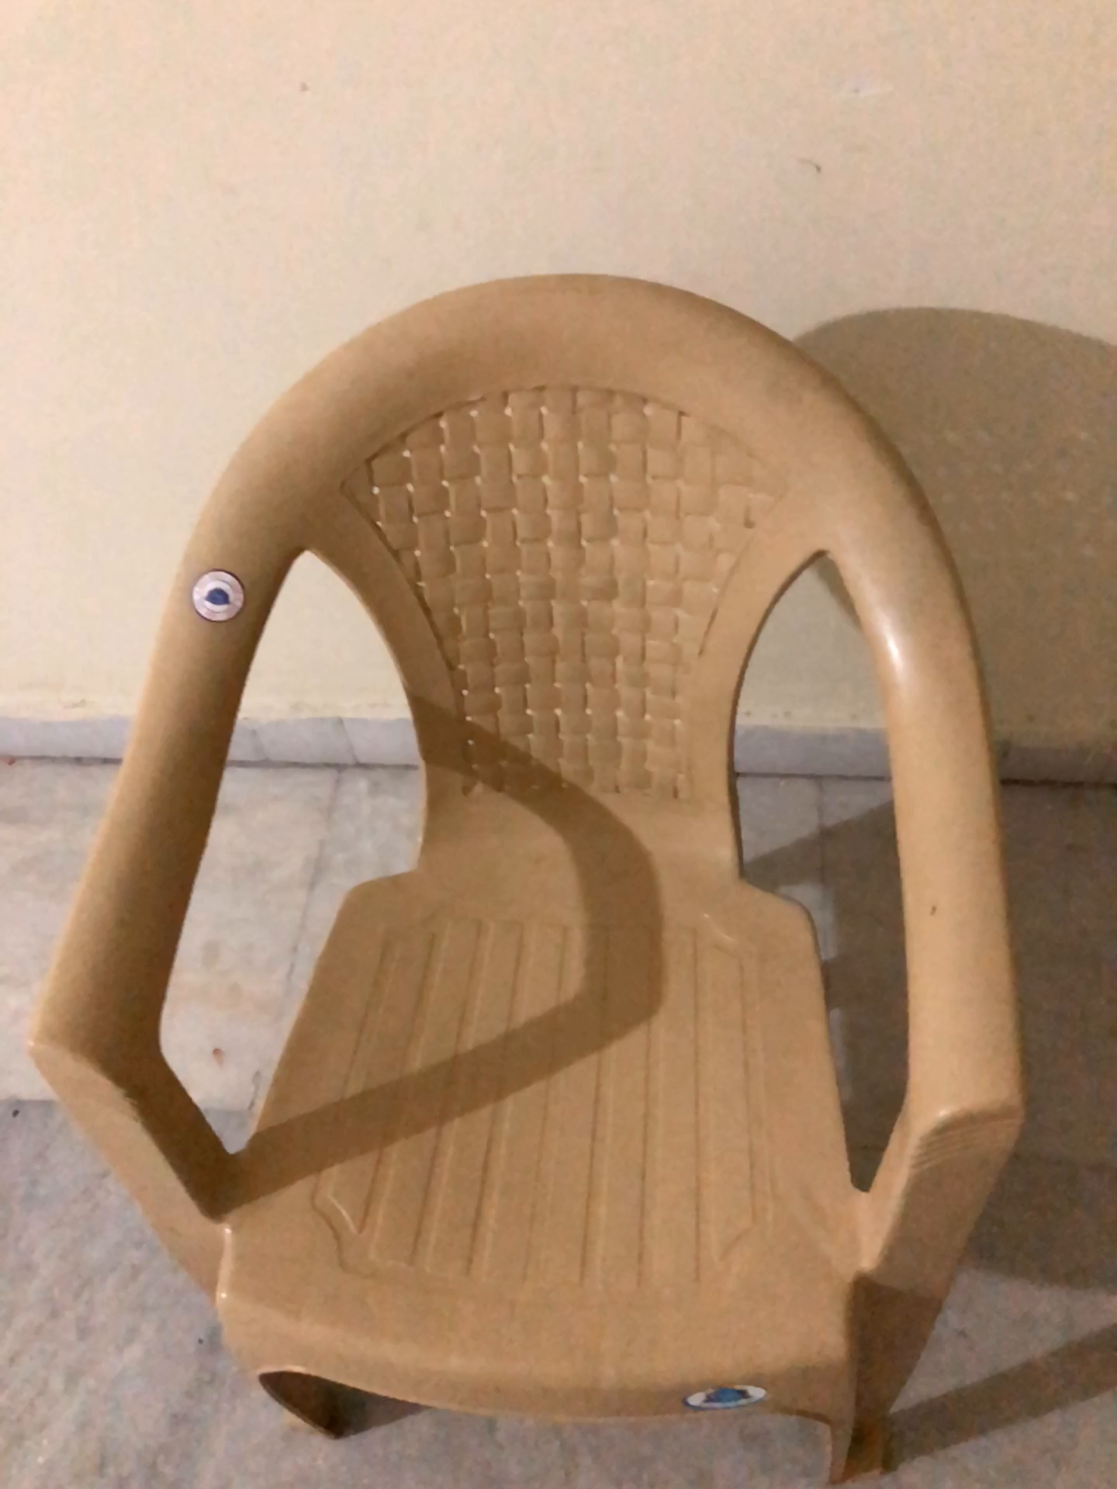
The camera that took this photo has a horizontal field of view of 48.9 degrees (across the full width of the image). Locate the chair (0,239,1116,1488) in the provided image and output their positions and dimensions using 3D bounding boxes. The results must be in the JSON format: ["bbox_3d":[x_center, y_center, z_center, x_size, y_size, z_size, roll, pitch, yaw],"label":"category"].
[{"bbox_3d":[-0.011,0.155,0.900,0.590,0.747,0.603,0,53,6],"label":"chair"}]
